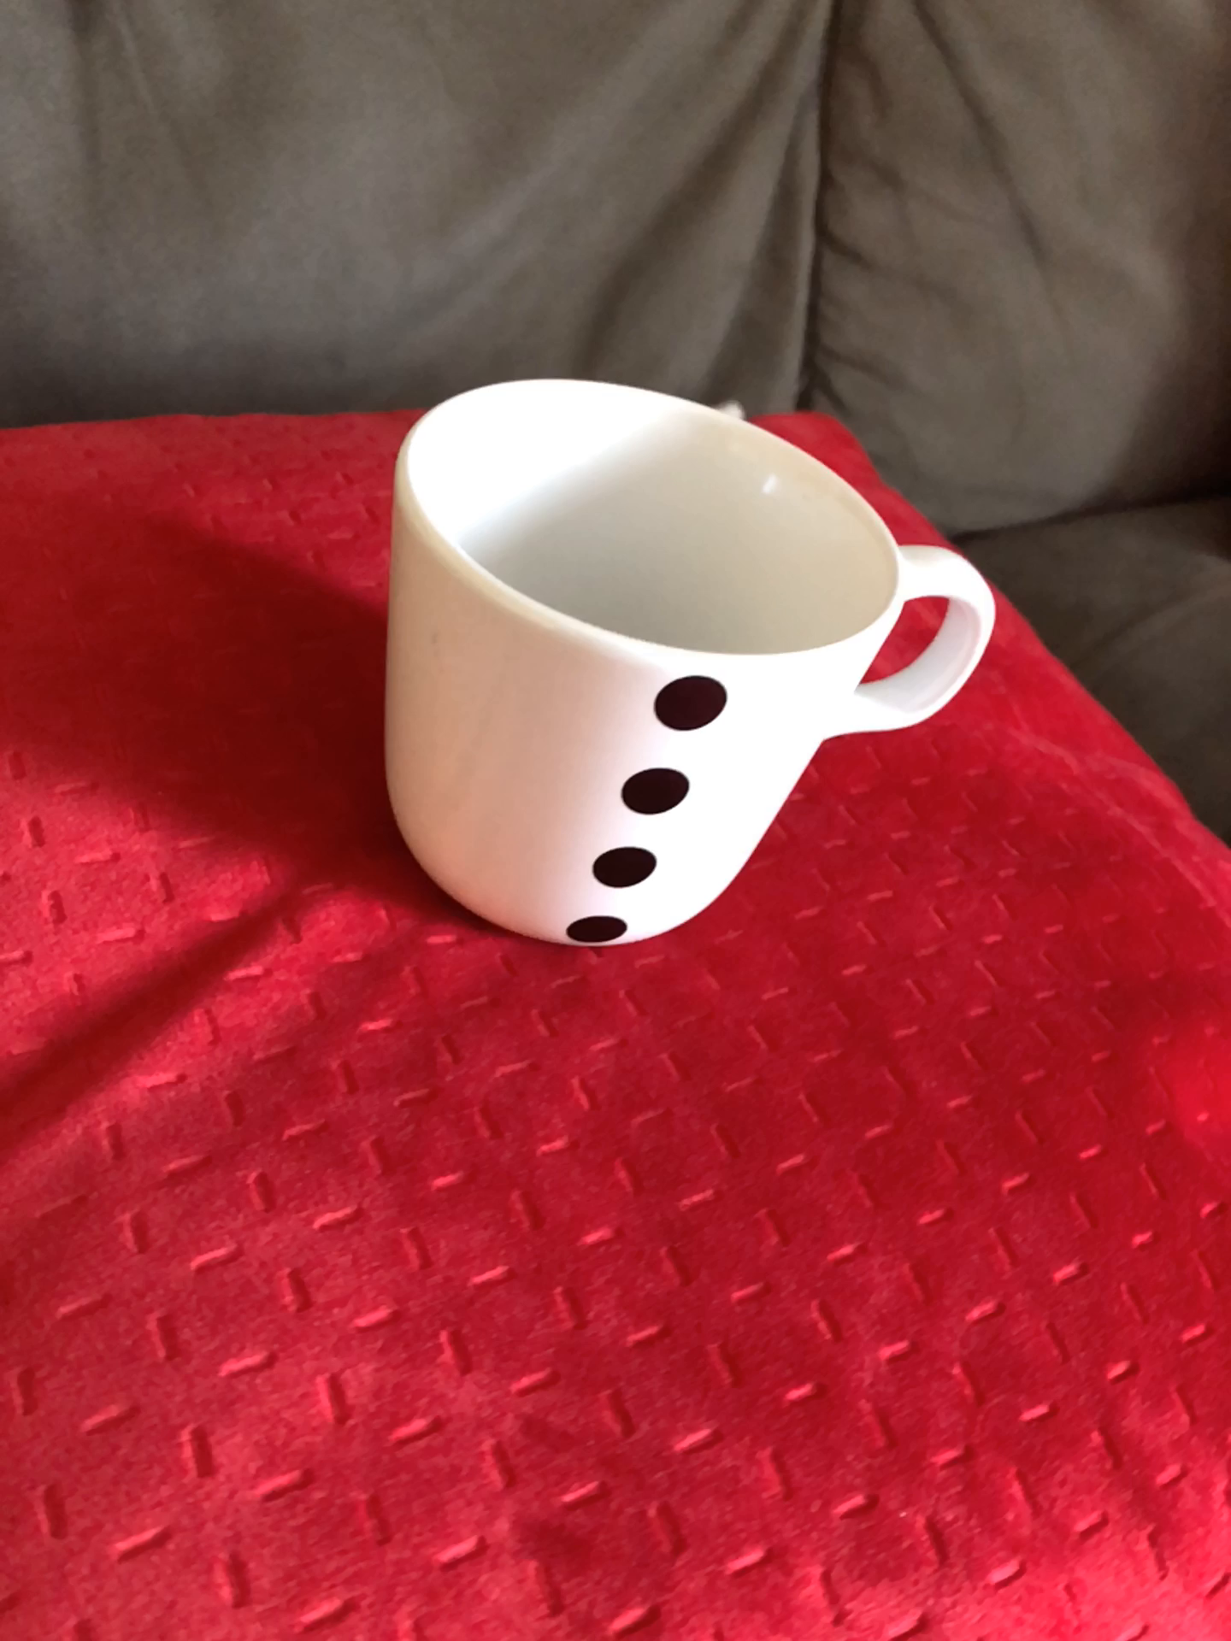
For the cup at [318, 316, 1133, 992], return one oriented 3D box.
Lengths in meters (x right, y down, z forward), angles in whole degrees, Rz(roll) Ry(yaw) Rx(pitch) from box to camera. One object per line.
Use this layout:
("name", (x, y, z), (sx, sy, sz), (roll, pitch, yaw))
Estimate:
("cup", (0.009, -0.029, 0.248), (0.110, 0.080, 0.080), (-1, 43, -20))
